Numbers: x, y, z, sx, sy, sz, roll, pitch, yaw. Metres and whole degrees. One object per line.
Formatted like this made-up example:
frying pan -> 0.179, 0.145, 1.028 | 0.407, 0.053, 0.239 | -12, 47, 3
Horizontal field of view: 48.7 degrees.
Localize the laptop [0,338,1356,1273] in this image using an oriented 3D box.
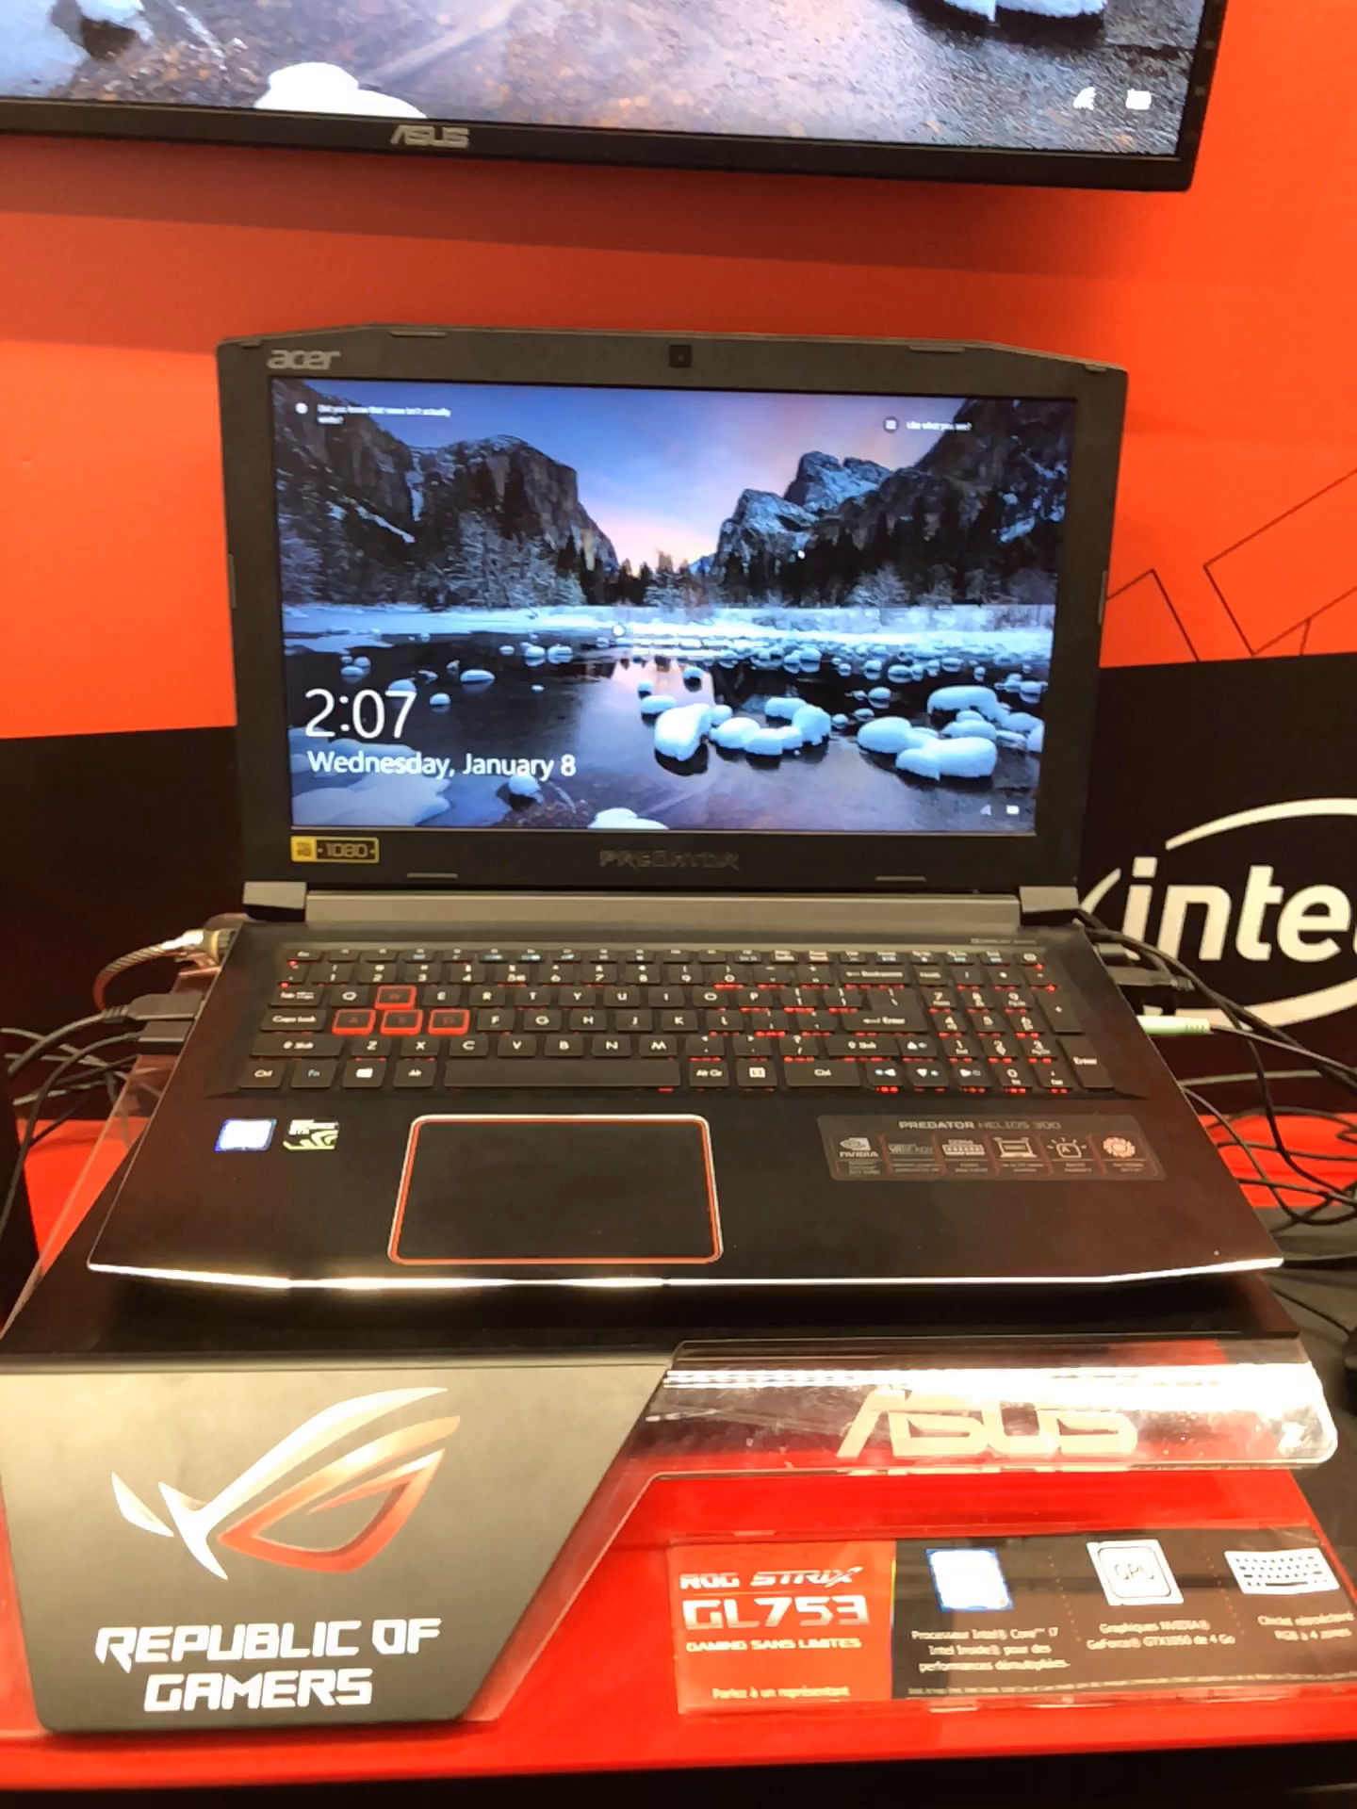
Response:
laptop -> 0.005, -0.061, 0.561 | 0.385, 0.240, 0.295 | 1, 26, -3
